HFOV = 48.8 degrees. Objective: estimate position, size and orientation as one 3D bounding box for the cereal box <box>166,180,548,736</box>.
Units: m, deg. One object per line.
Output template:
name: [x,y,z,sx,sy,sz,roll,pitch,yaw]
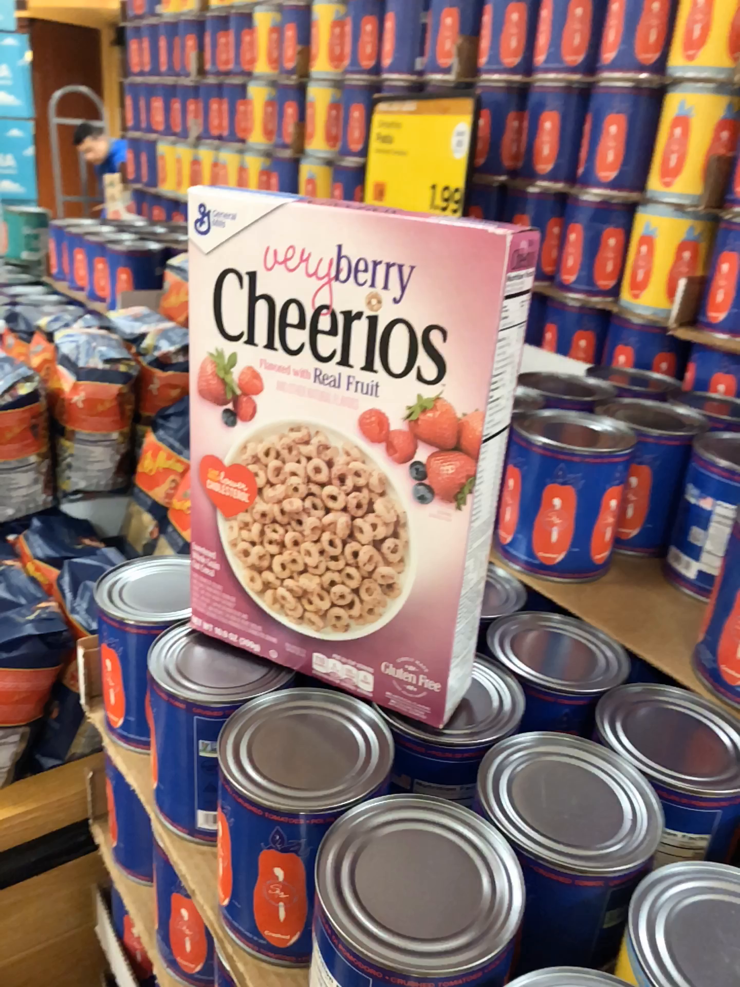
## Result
cereal box: [-0.022,-0.025,0.489,0.200,0.288,0.060,16,25,24]
